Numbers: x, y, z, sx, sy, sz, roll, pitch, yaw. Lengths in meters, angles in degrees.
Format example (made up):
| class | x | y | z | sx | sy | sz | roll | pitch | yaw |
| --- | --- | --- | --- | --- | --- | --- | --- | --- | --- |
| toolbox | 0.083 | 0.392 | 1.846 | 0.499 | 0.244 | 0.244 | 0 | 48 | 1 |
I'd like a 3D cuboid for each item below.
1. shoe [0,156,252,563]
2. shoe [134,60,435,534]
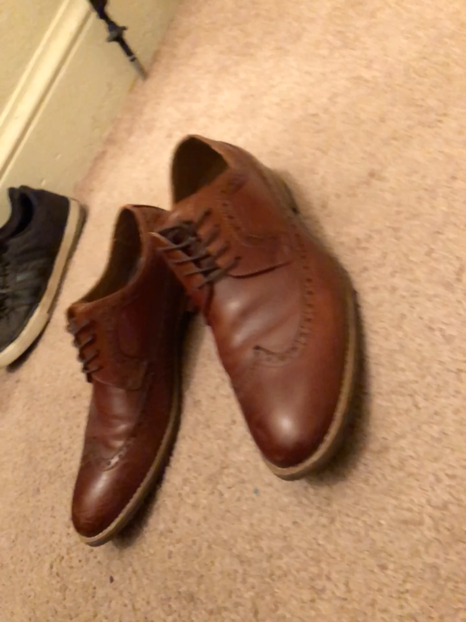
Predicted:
| class | x | y | z | sx | sy | sz | roll | pitch | yaw |
| --- | --- | --- | --- | --- | --- | --- | --- | --- | --- |
| shoe | -0.097 | 0.038 | 0.466 | 0.115 | 0.114 | 0.310 | -6 | 63 | 47 |
| shoe | 0.011 | -0.025 | 0.372 | 0.115 | 0.114 | 0.311 | -36 | 44 | 30 |
